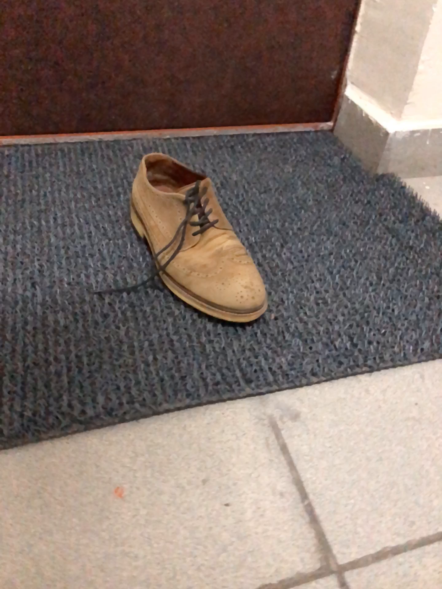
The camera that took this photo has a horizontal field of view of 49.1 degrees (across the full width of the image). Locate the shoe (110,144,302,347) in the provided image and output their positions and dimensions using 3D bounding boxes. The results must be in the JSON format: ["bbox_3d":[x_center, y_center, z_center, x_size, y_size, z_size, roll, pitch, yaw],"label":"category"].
[{"bbox_3d":[-0.037,-0.083,0.639,0.110,0.099,0.301,-18,46,-25],"label":"shoe"}]
